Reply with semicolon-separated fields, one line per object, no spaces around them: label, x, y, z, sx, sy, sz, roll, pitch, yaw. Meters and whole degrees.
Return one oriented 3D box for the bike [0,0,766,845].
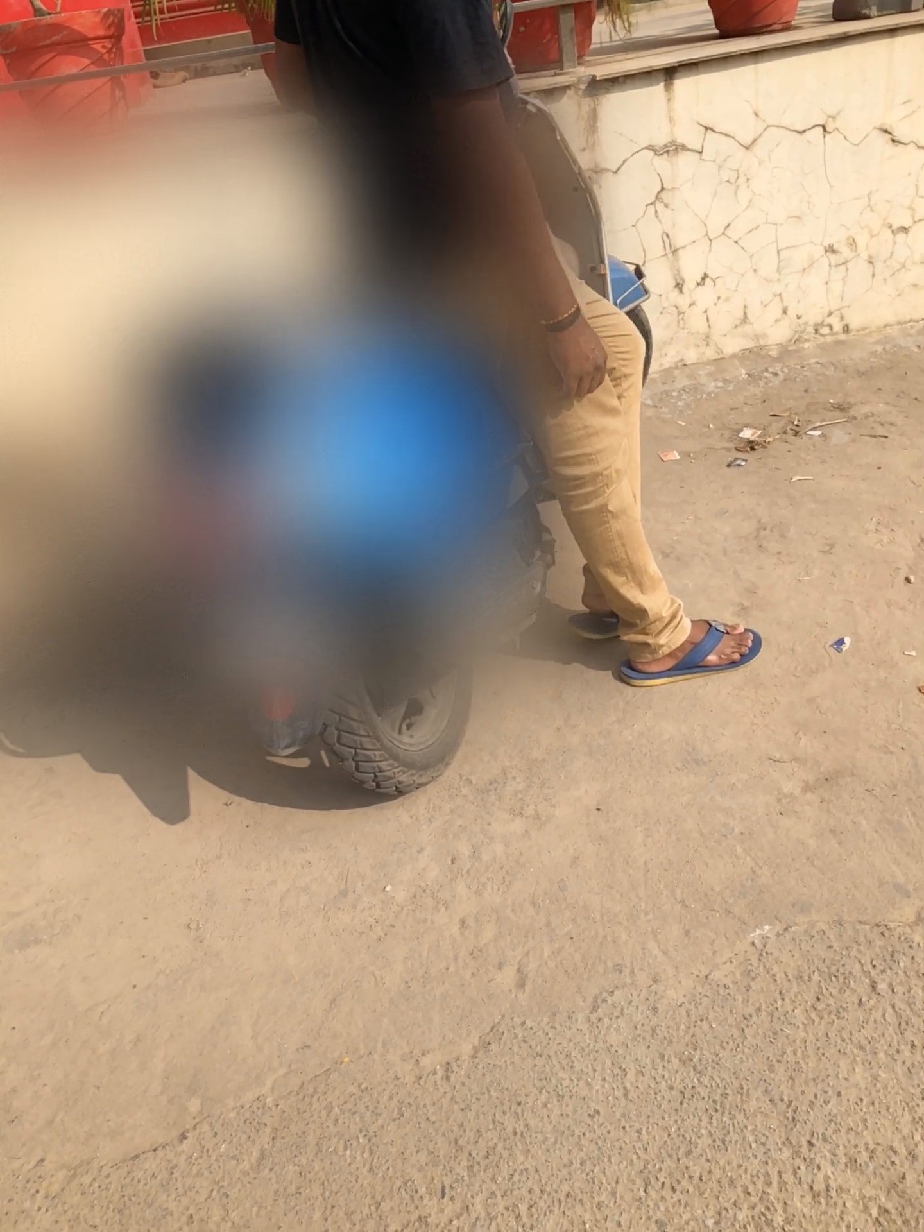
bike;0.094;-0.547;1.943;0.593;1.021;1.580;7;38;25
